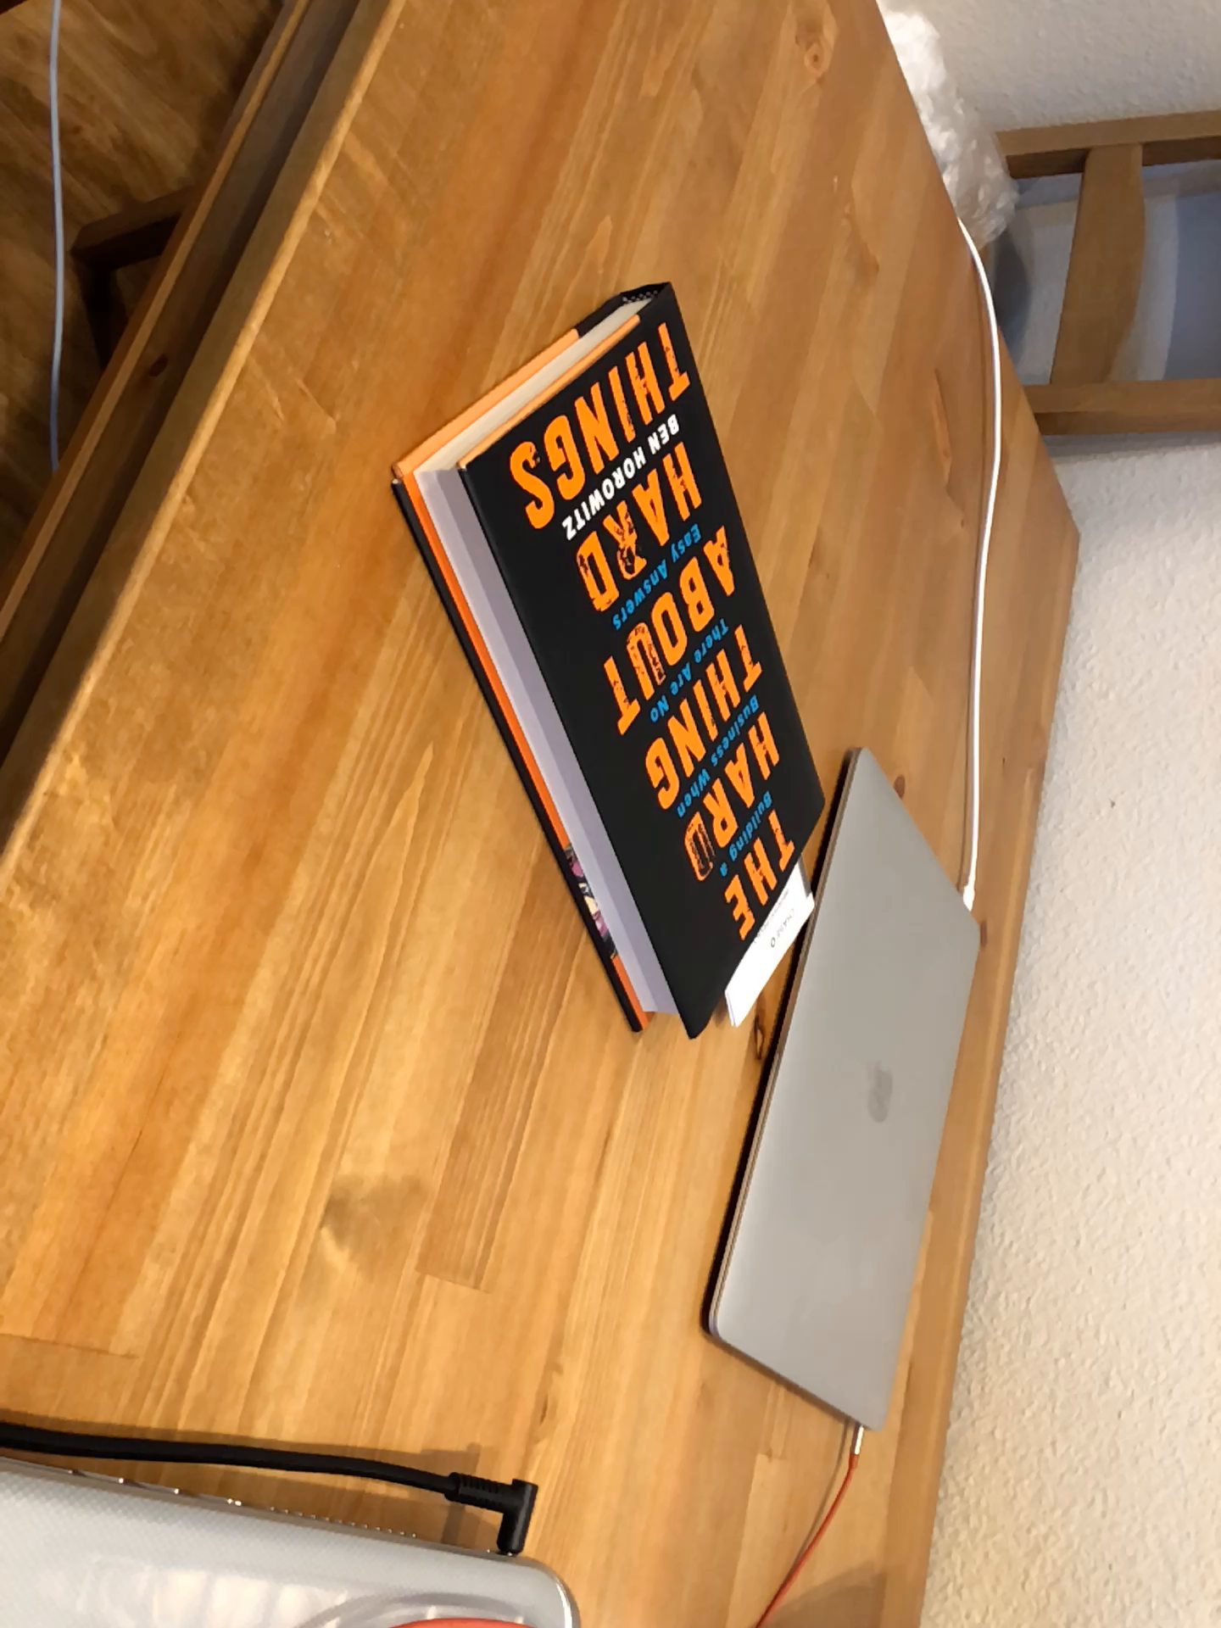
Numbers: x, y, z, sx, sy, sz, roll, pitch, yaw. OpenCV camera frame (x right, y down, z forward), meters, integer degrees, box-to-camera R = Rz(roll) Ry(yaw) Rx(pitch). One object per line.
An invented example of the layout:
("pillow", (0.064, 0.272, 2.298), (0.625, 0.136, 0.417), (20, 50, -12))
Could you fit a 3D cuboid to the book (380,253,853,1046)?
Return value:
("book", (0.020, -0.056, 0.474), (0.160, 0.030, 0.221), (-55, 134, -42))
